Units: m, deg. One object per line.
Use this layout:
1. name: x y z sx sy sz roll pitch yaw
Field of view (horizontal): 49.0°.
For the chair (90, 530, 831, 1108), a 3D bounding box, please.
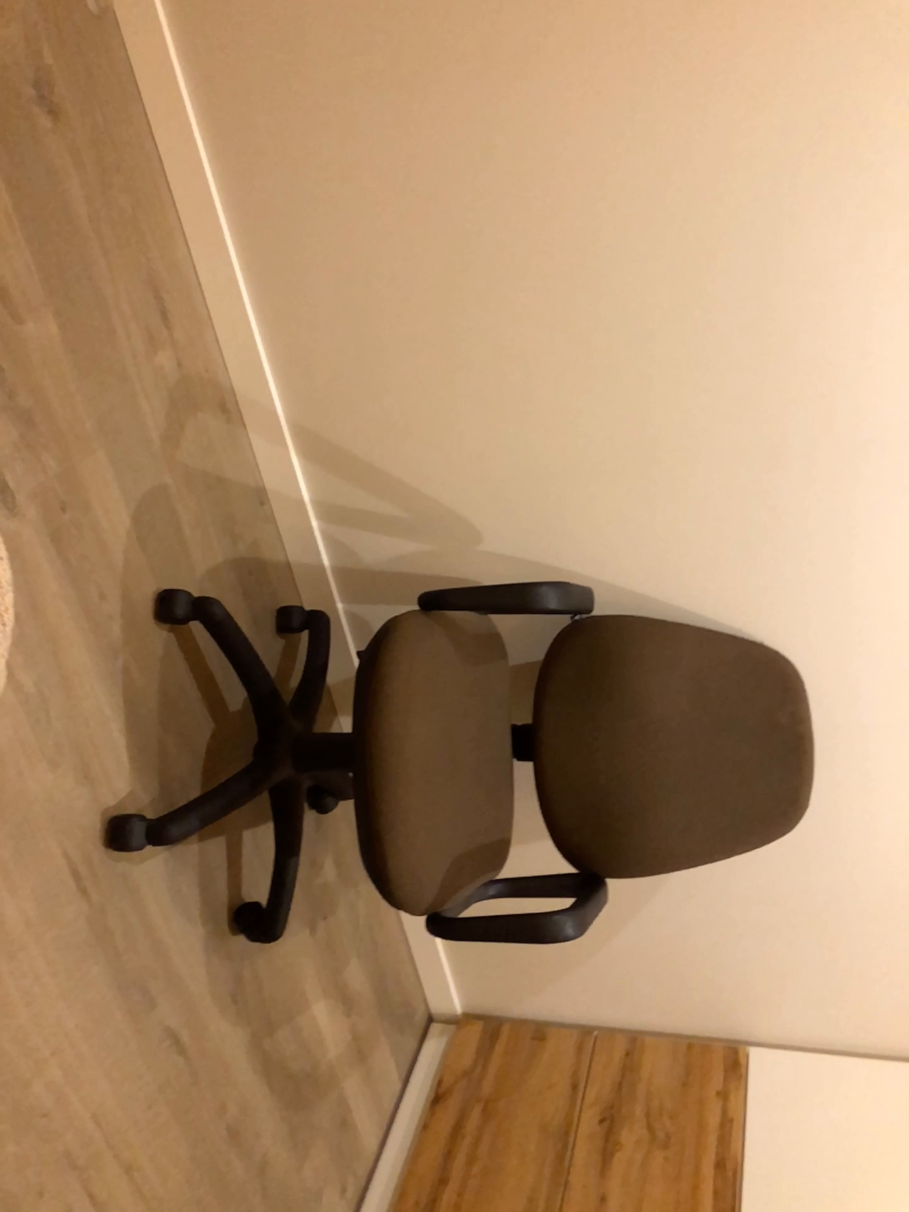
1. chair: 0.064 0.266 1.598 0.713 0.975 0.630 7 81 -69
